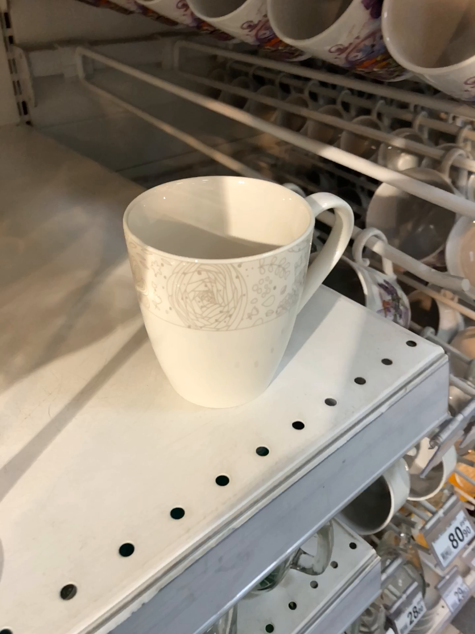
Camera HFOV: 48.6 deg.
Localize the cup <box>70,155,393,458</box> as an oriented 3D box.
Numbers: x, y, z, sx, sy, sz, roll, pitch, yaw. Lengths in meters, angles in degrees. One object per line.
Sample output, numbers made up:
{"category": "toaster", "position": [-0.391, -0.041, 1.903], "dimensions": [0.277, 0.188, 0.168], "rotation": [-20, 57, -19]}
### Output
{"category": "cup", "position": [-0.003, -0.015, 0.277], "dimensions": [0.126, 0.091, 0.090], "rotation": [-24, 43, -31]}
